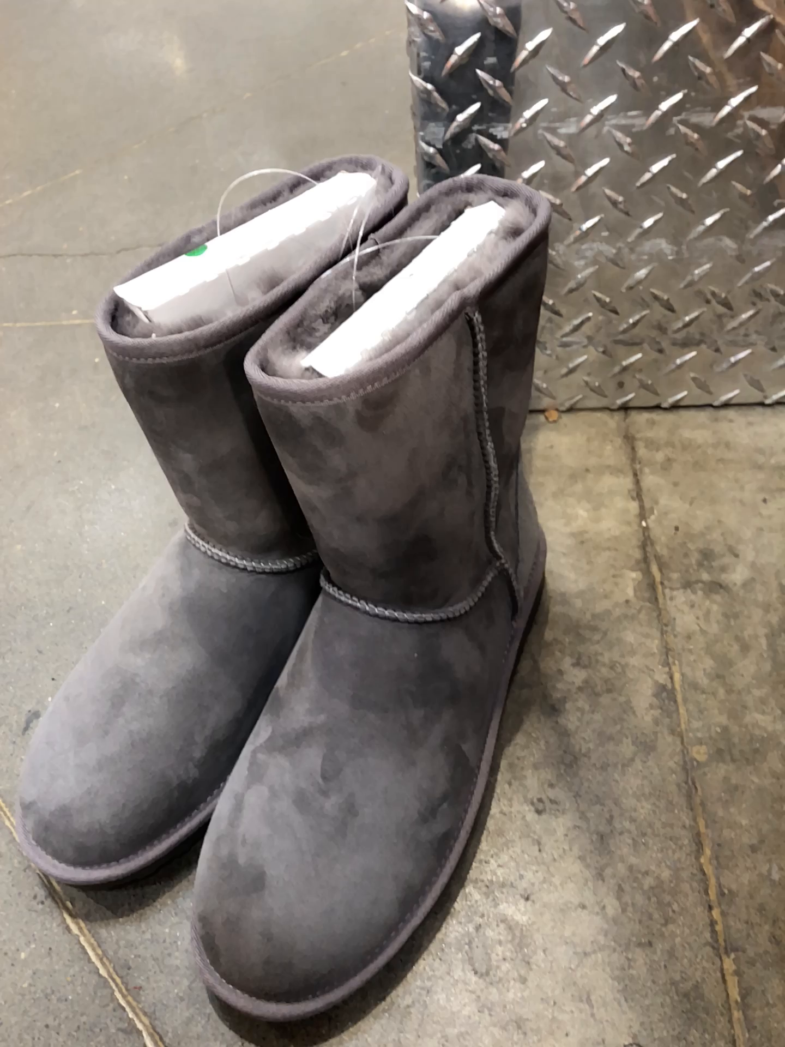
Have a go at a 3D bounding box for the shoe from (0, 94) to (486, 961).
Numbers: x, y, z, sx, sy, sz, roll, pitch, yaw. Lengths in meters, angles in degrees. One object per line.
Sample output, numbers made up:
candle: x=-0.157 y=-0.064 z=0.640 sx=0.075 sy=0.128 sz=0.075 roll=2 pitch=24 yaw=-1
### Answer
shoe: x=-0.085 y=-0.001 z=0.386 sx=0.120 sy=0.239 sz=0.280 roll=27 pitch=57 yaw=26

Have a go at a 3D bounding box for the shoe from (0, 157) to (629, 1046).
shoe: x=-0.016 y=0.040 z=0.348 sx=0.110 sy=0.239 sz=0.271 roll=19 pitch=54 yaw=20
